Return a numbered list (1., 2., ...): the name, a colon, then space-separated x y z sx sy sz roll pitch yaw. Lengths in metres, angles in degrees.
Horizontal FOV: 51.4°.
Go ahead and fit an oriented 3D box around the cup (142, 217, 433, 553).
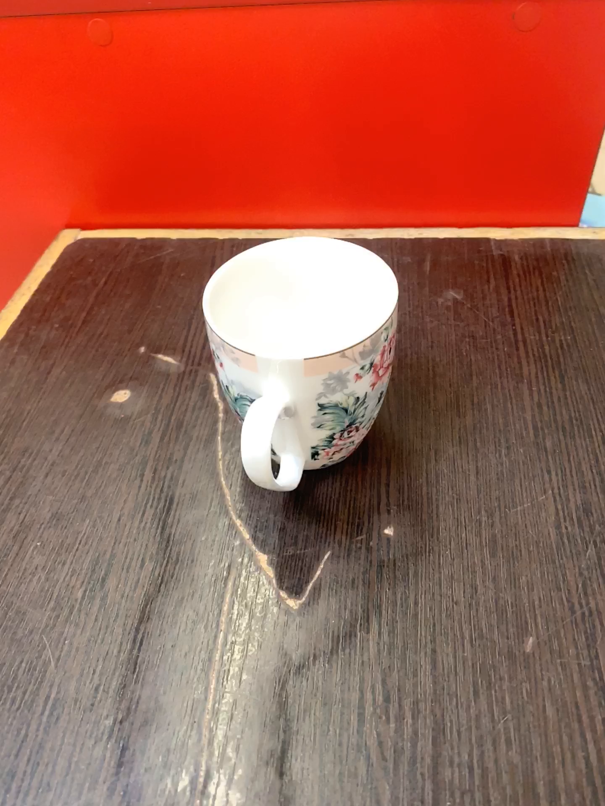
1. cup: 0.003 -0.013 0.253 0.080 0.070 0.110 8 46 12
